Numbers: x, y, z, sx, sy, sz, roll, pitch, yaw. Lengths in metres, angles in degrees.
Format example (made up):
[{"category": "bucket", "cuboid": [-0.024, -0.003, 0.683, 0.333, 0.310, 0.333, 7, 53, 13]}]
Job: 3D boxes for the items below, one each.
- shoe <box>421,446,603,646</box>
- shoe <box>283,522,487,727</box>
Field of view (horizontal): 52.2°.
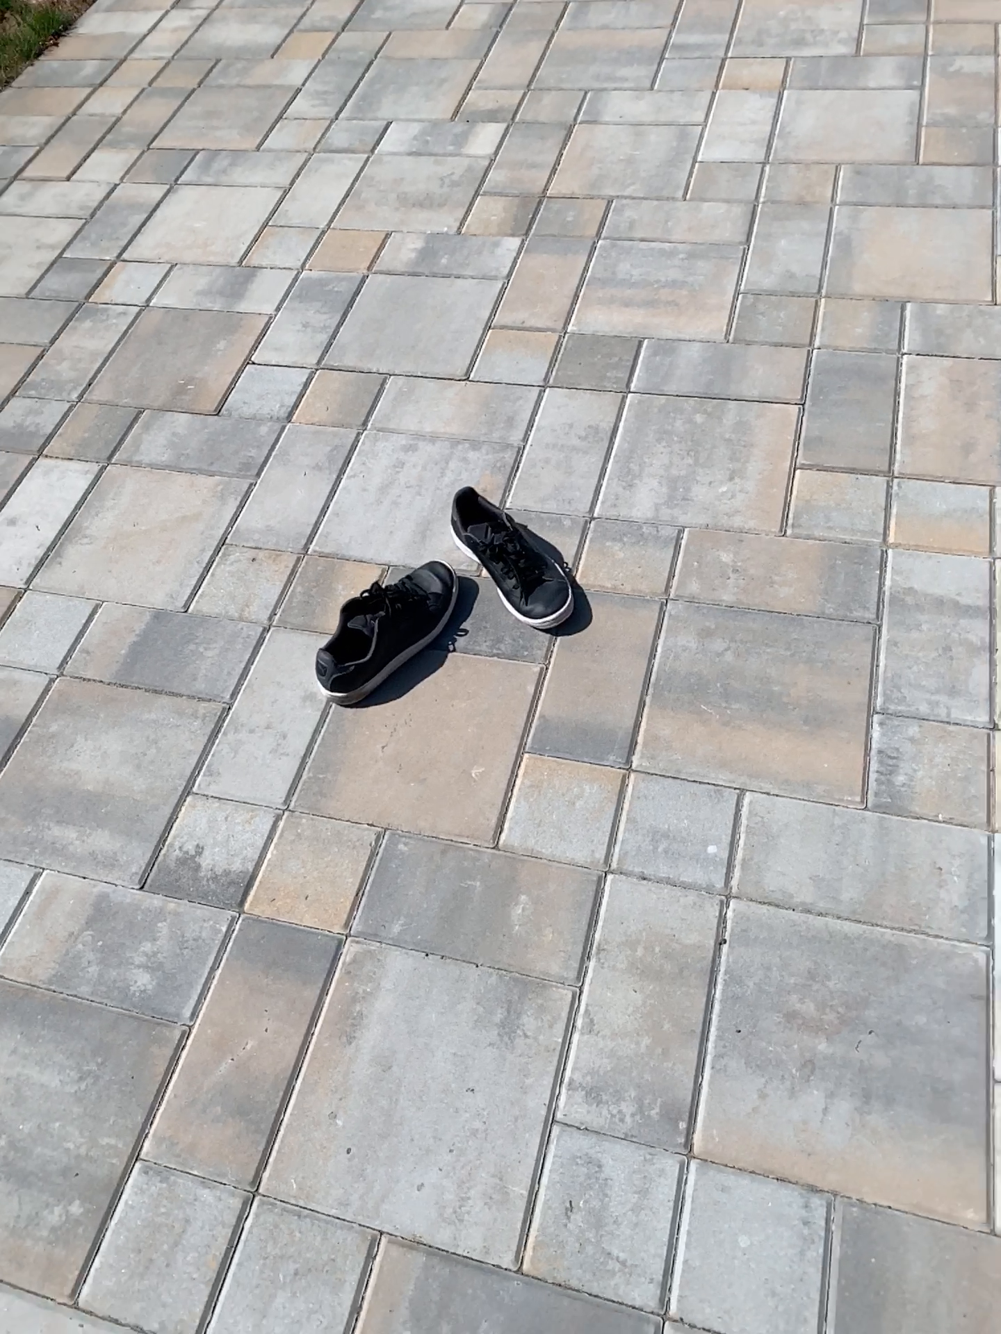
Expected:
[{"category": "shoe", "cuboid": [0.014, -0.175, 1.432, 0.110, 0.100, 0.281, -31, 55, -14]}, {"category": "shoe", "cuboid": [-0.150, -0.060, 1.384, 0.110, 0.110, 0.250, 34, 65, 29]}]
